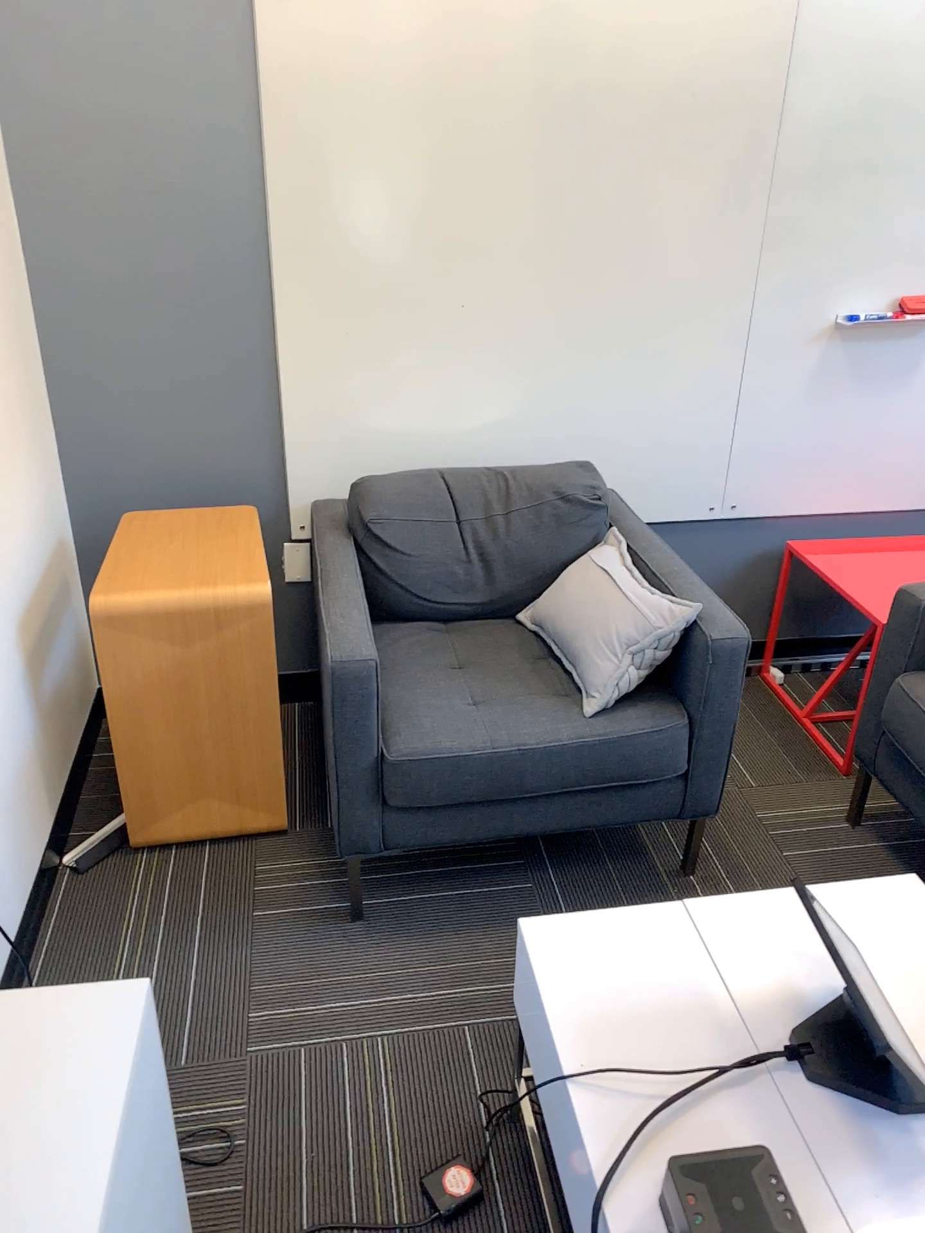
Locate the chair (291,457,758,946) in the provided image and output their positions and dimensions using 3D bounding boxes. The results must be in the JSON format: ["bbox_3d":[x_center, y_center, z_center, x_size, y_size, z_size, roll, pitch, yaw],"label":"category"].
[{"bbox_3d":[0.047,0.122,2.282,0.840,0.716,0.946,-4,28,-11],"label":"chair"}]
